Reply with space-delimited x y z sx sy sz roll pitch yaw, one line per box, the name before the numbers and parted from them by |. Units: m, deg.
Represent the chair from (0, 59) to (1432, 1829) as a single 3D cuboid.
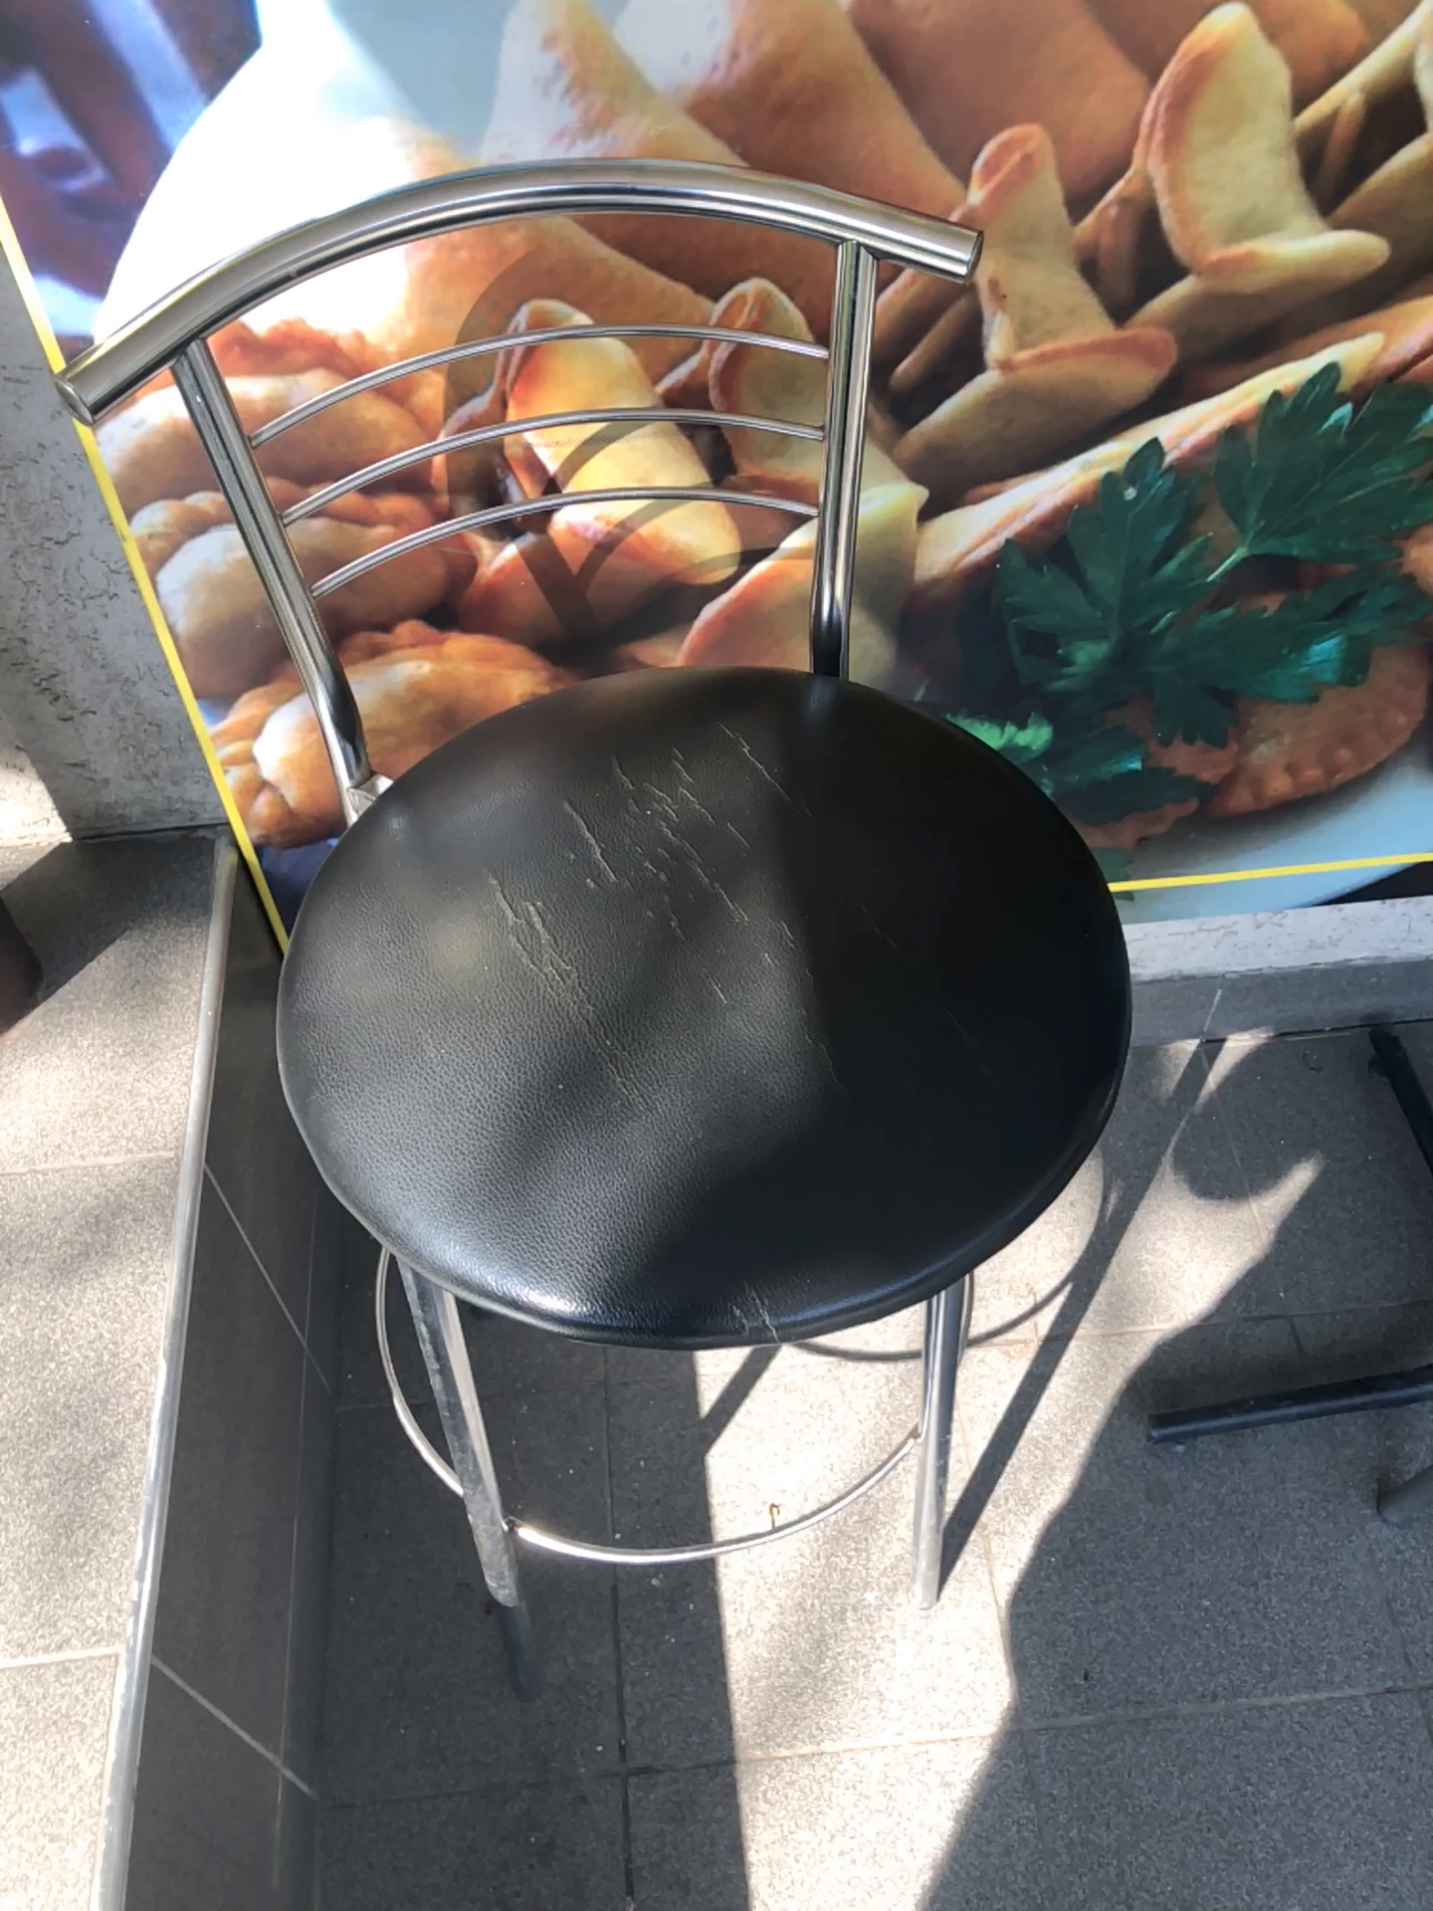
chair | -0.030 0.103 0.927 0.480 0.937 0.481 -12 53 -8
